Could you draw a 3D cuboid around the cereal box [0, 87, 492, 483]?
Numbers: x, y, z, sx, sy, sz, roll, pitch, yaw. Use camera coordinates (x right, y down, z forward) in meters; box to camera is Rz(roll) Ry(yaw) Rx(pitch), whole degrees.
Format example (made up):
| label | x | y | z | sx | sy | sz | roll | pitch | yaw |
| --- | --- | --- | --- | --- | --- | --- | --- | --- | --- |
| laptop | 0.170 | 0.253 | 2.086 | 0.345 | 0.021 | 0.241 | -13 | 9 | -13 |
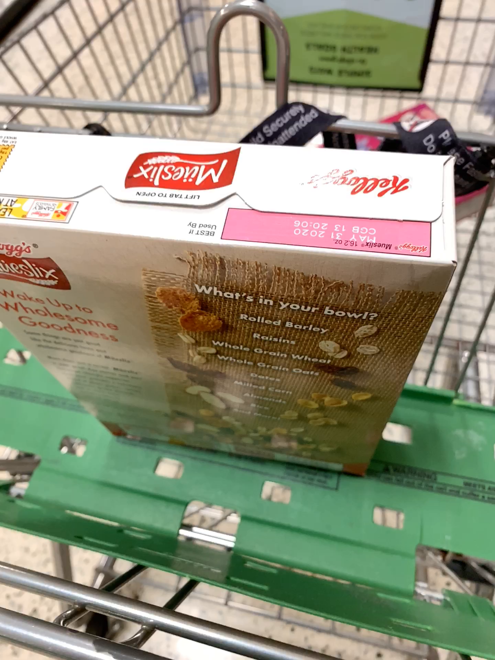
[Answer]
| label | x | y | z | sx | sy | sz | roll | pitch | yaw |
| --- | --- | --- | --- | --- | --- | --- | --- | --- | --- |
| cereal box | -0.016 | 0.007 | 0.268 | 0.190 | 0.248 | 0.050 | 8 | 62 | 10 |
